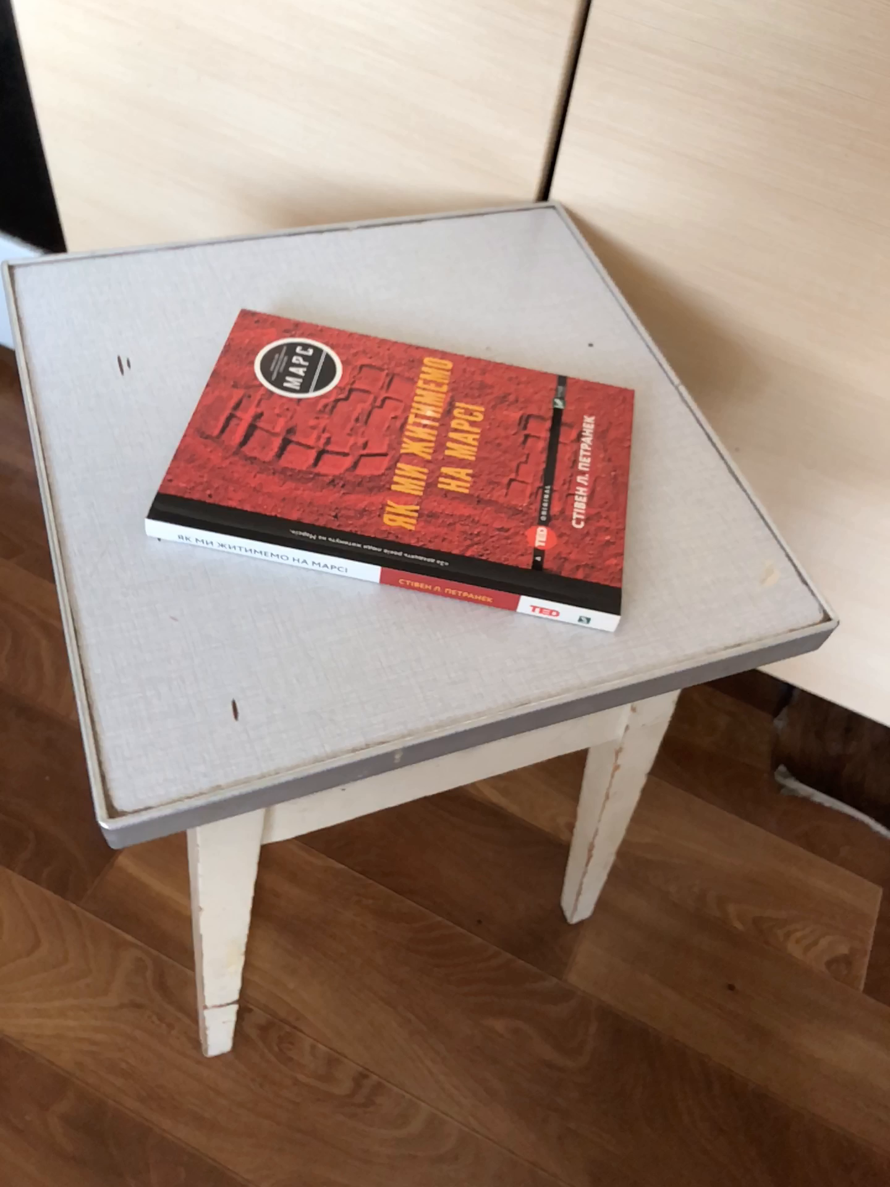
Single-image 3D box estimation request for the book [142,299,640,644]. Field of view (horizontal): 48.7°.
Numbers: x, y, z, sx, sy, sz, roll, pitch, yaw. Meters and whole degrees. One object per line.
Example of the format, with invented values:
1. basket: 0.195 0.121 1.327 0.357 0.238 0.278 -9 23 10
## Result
1. book: -0.015 -0.064 0.469 0.208 0.020 0.151 12 54 0
